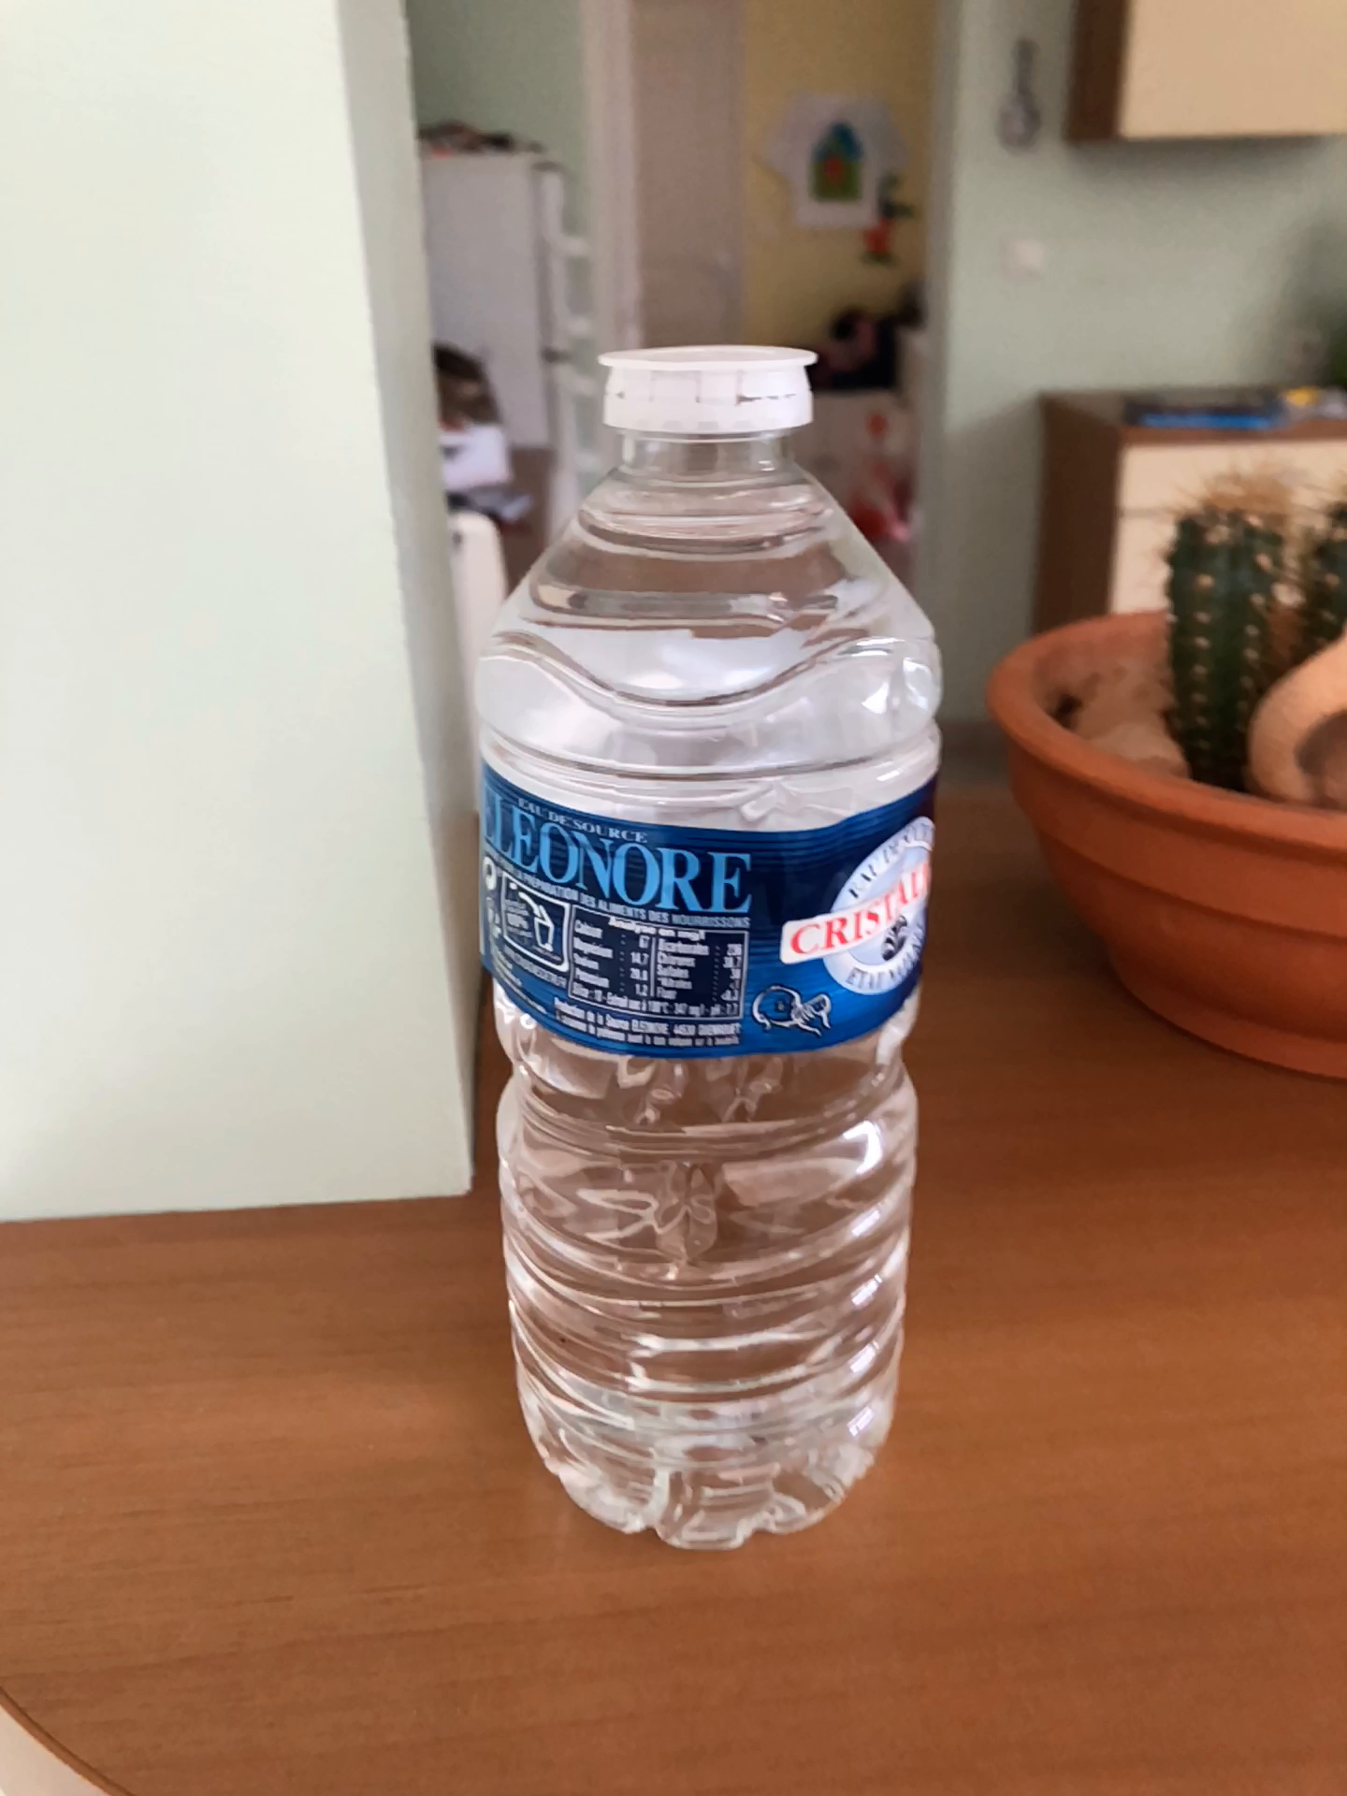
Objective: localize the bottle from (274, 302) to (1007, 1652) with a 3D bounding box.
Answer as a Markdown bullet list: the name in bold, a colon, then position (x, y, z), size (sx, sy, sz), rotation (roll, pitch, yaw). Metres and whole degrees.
- **bottle**: position (0.000, 0.010, 0.237), size (0.070, 0.189, 0.070), rotation (-1, 24, 1)
